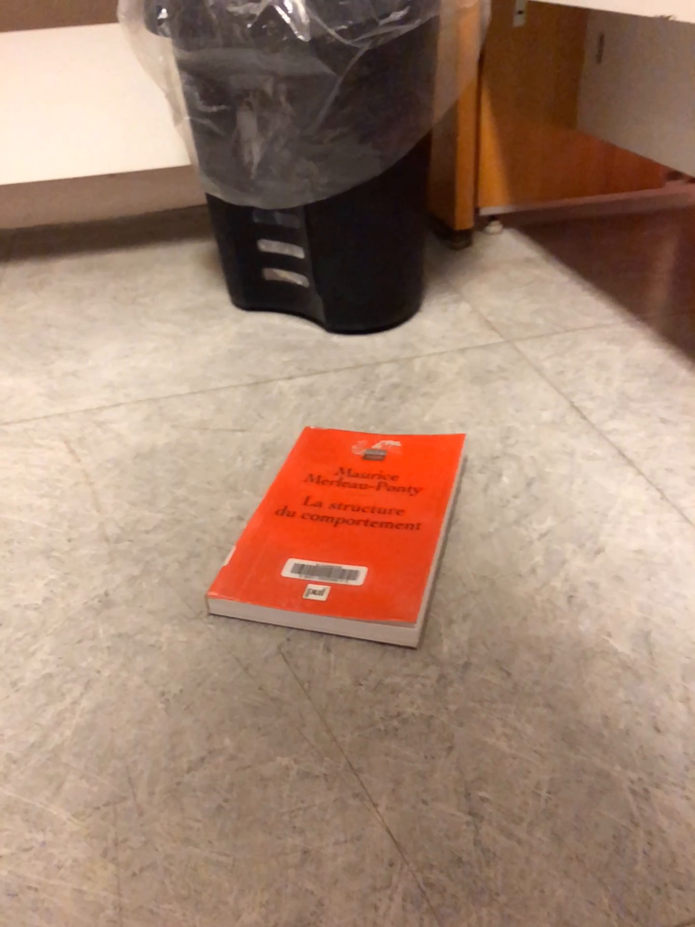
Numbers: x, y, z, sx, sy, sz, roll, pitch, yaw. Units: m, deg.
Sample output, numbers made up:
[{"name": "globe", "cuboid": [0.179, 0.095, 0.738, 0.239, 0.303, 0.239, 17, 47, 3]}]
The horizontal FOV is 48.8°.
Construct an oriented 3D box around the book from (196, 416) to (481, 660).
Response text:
[{"name": "book", "cuboid": [0.006, 0.035, 0.504, 0.135, 0.020, 0.201, 7, 35, 14]}]
